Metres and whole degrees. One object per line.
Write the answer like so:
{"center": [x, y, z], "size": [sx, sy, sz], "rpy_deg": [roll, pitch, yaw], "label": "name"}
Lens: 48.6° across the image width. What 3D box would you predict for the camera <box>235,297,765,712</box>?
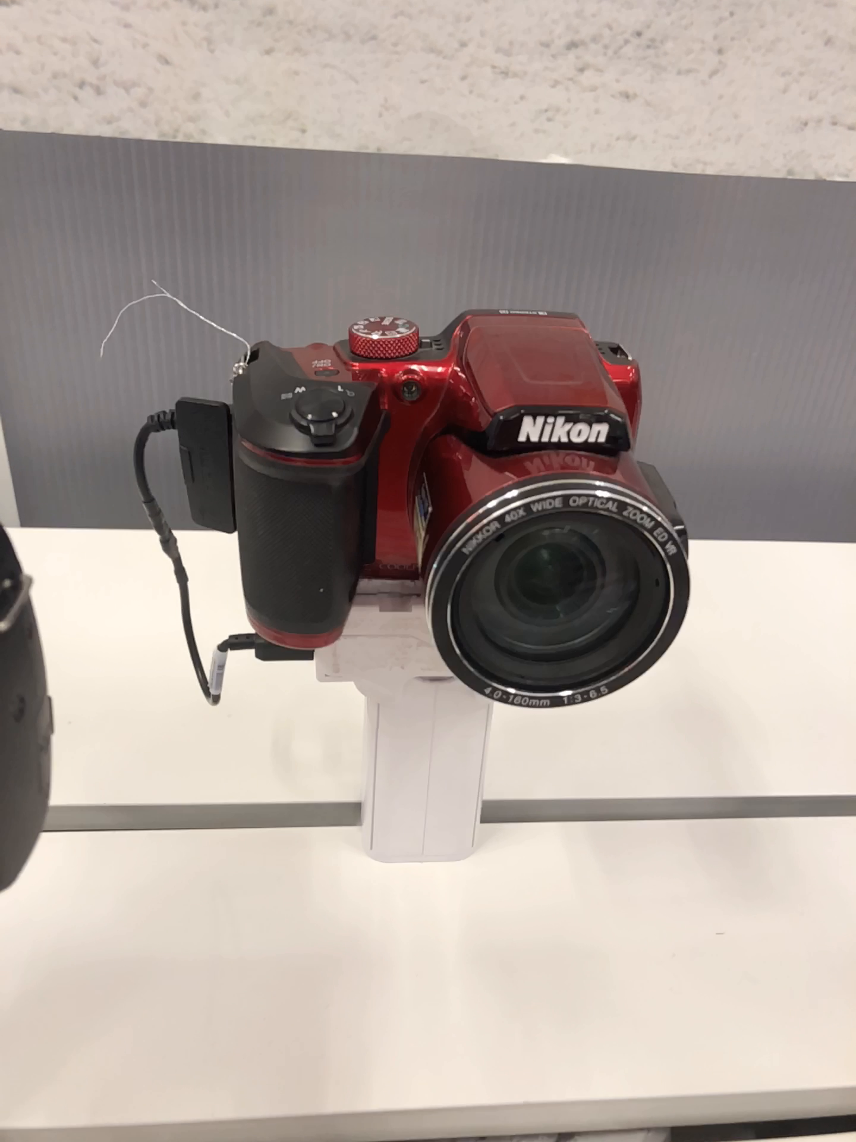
{"center": [0.010, -0.019, 0.248], "size": [0.110, 0.073, 0.084], "rpy_deg": [1, 33, -6], "label": "camera"}
